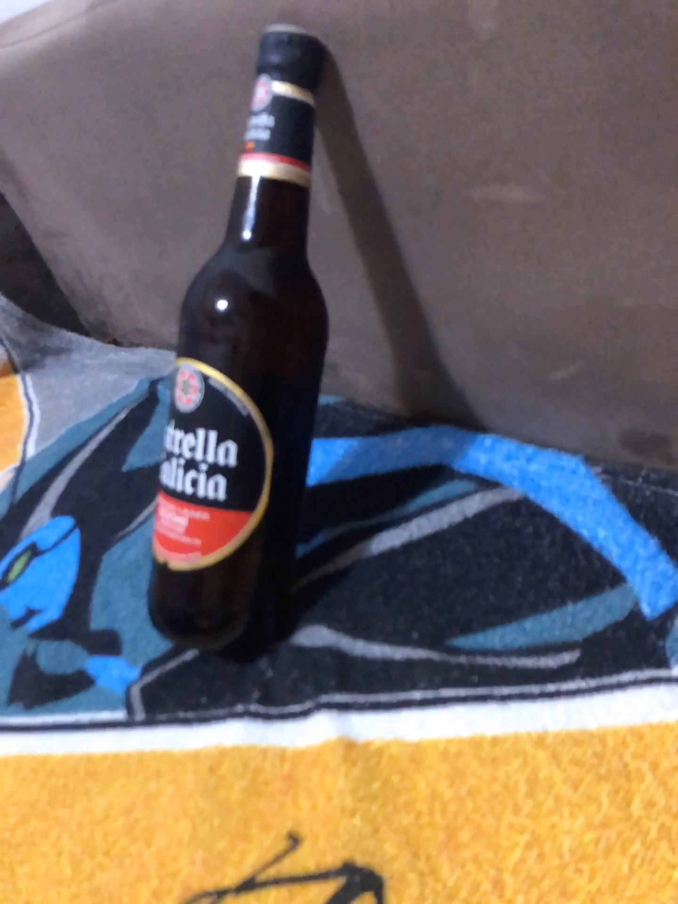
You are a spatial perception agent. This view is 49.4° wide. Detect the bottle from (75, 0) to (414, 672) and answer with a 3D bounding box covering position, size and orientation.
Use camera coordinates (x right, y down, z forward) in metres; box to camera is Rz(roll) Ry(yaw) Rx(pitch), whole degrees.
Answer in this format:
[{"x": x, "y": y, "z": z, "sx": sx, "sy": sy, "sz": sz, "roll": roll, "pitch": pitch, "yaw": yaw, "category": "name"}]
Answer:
[{"x": -0.047, "y": -0.053, "z": 0.331, "sx": 0.080, "sy": 0.269, "sz": 0.080, "roll": 10, "pitch": 8, "yaw": -1, "category": "bottle"}]
